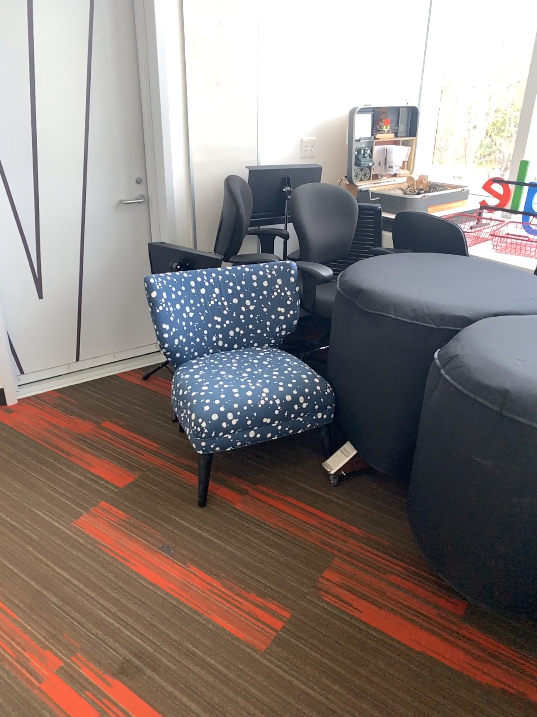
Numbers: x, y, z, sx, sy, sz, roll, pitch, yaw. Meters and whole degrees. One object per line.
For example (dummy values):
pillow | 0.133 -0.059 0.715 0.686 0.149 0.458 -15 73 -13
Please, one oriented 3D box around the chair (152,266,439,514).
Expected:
chair | 0.076 0.061 2.490 1.000 0.686 0.774 -10 27 -21
